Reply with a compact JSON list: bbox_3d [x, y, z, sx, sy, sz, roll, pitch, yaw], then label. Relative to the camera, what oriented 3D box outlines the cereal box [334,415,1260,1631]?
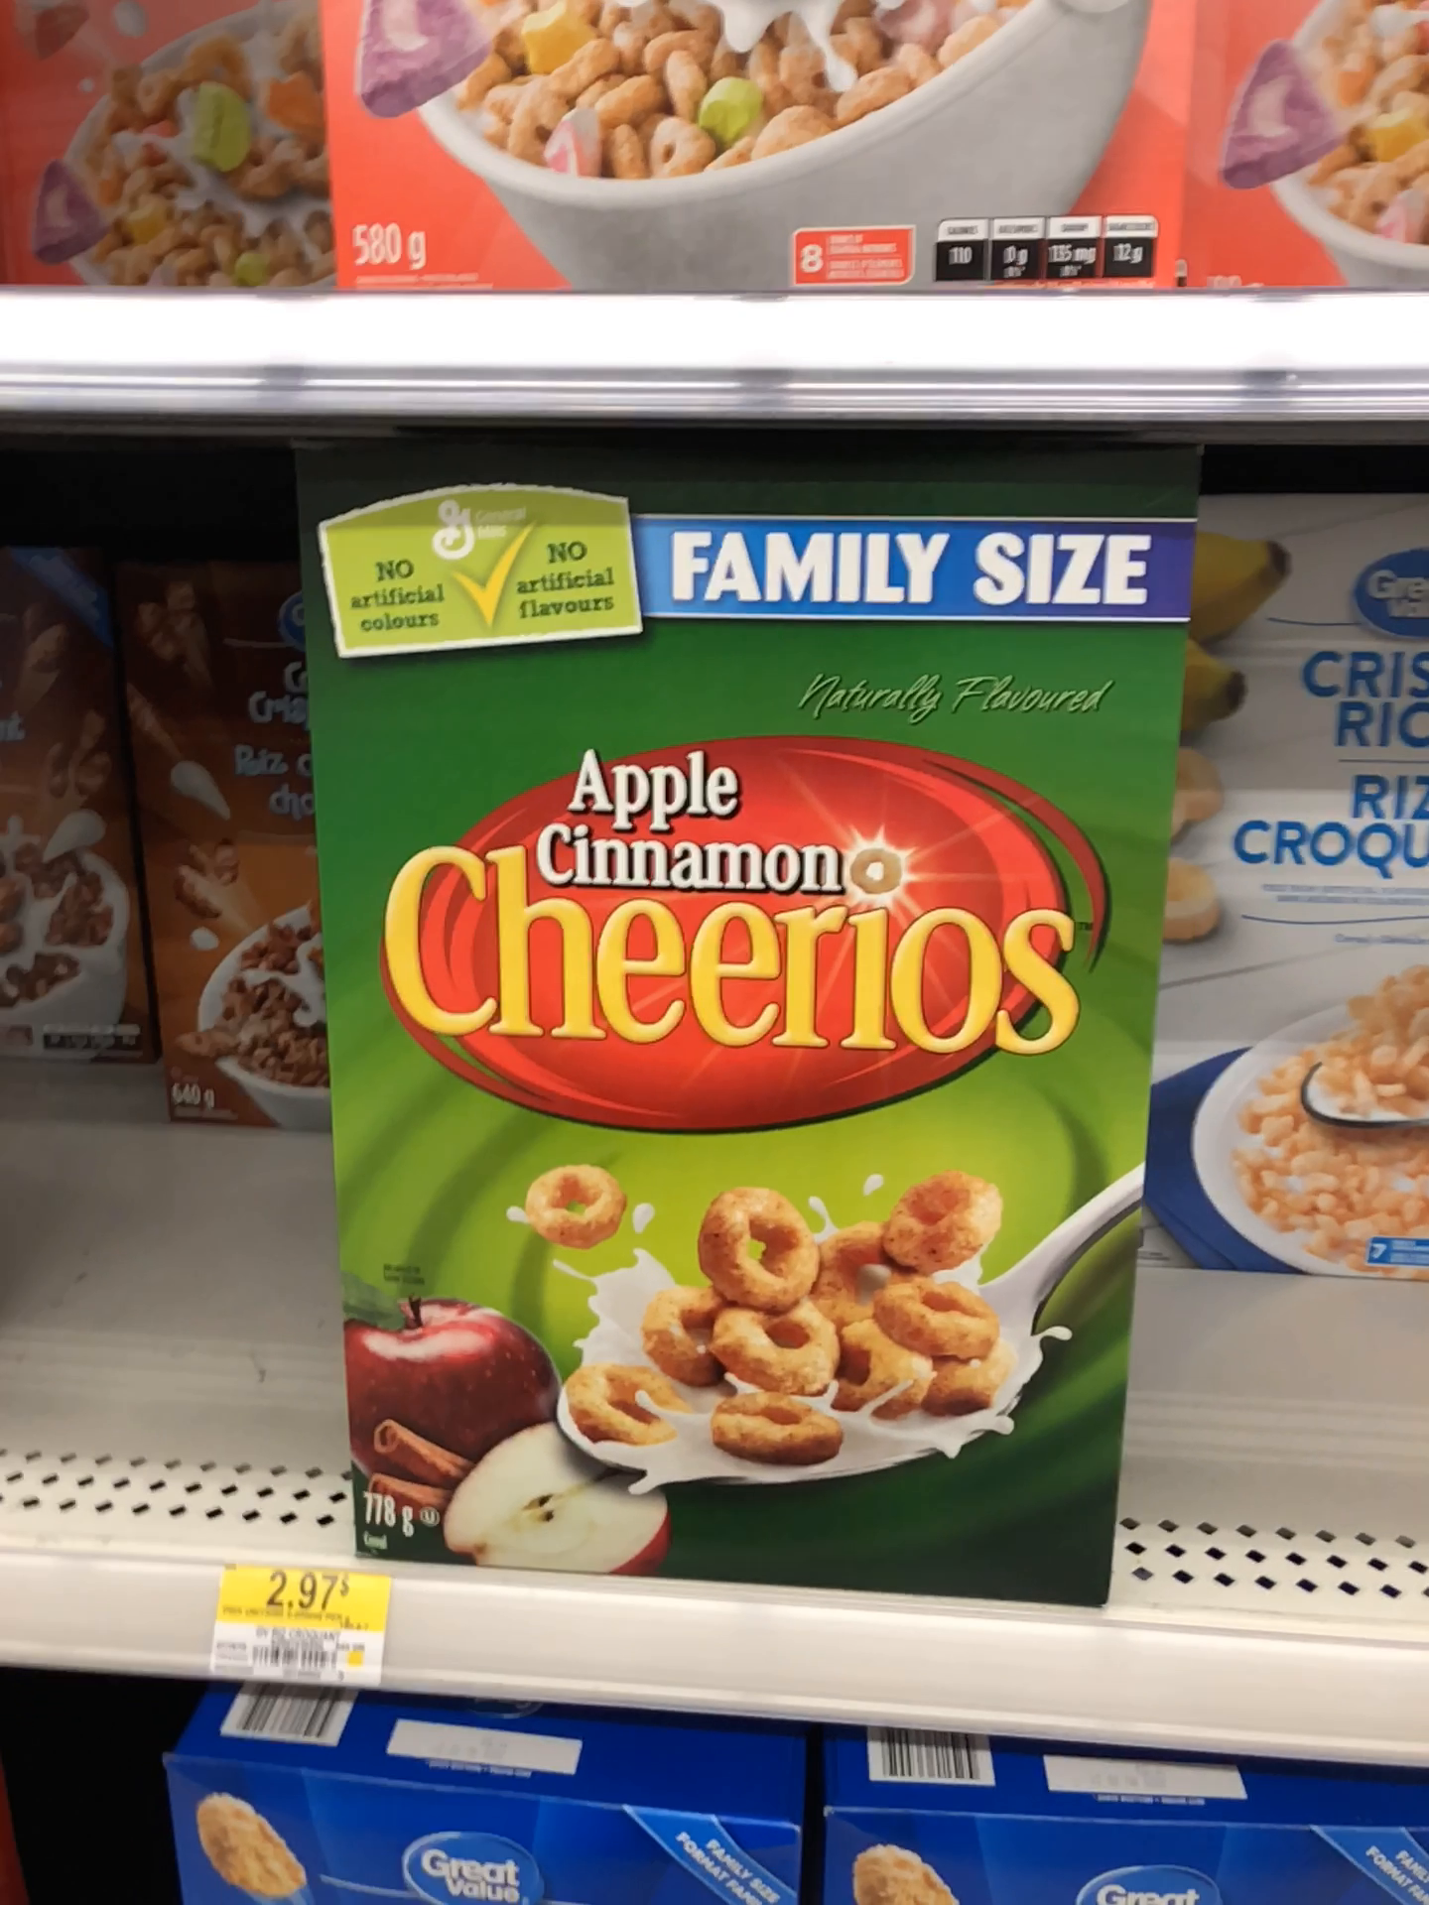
[{"bbox_3d":[0.022,0.022,0.497,0.240,0.358,0.090,2,15,6],"label":"cereal box"}]
